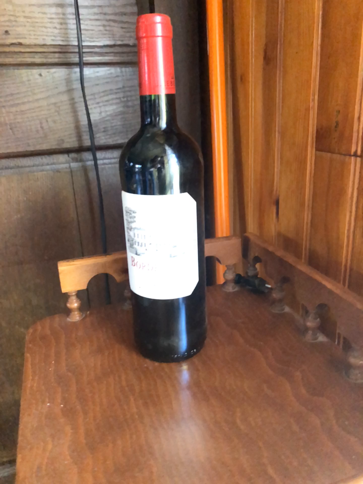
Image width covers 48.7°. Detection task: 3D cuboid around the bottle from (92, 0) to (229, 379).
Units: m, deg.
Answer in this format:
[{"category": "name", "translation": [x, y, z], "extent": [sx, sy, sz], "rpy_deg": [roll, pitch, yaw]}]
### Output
[{"category": "bottle", "translation": [-0.007, -0.037, 0.365], "extent": [0.080, 0.309, 0.080], "rpy_deg": [-2, 20, 1]}]
